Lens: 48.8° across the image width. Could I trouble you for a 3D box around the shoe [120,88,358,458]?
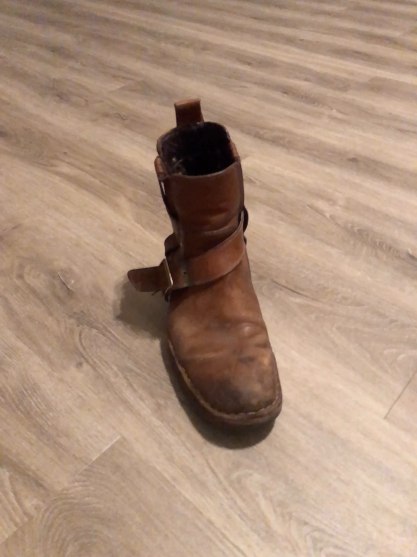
[{"bbox_3d":[0.001,-0.024,0.450,0.130,0.209,0.291,-8,42,-8],"label":"shoe"}]
